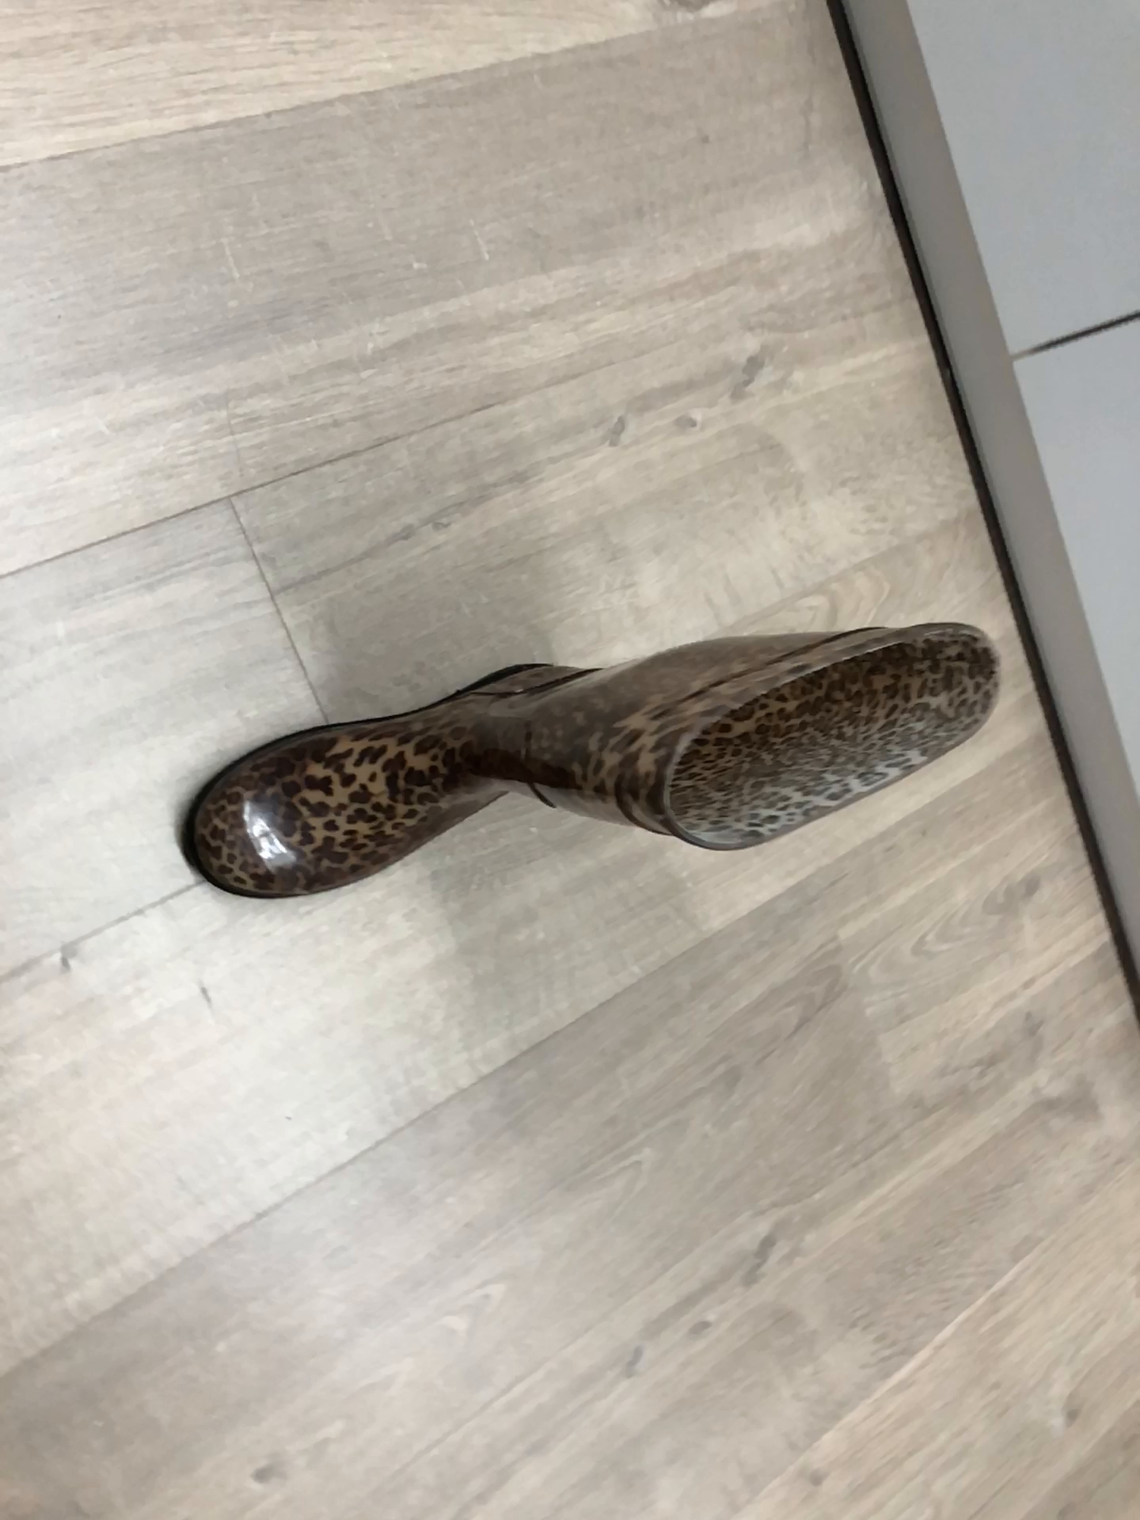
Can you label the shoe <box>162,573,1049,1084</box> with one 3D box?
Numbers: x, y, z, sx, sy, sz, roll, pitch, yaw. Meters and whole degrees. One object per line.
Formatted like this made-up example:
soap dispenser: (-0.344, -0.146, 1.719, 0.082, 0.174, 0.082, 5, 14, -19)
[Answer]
shoe: (-0.011, 0.009, 0.597, 0.281, 0.339, 0.090, -21, 101, -26)
